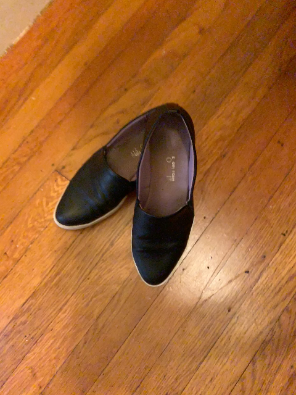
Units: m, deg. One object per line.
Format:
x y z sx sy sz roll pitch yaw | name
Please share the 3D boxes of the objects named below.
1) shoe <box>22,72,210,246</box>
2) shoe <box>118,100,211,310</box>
-0.041 -0.054 0.466 0.260 0.080 0.100 -41 77 -5 | shoe
0.020 0.007 0.407 0.100 0.080 0.250 3 99 7 | shoe
